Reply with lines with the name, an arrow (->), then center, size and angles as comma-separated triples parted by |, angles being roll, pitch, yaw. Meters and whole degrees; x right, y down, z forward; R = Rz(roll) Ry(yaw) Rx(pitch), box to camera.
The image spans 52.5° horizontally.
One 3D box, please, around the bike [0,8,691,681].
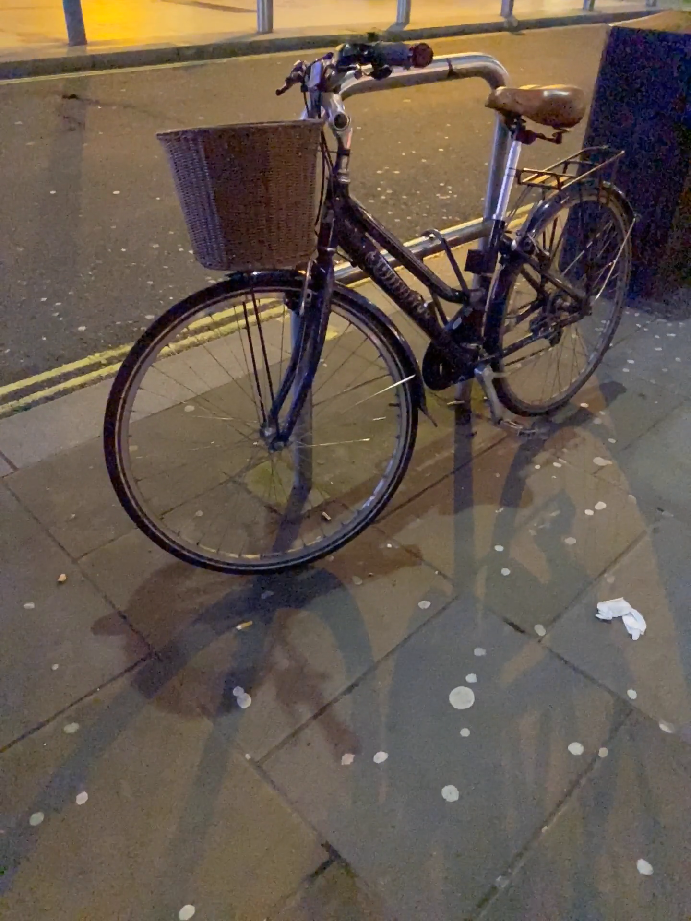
bike -> 0.205, -0.440, 1.786 | 1.714, 1.063, 0.662 | -25, 44, -29
